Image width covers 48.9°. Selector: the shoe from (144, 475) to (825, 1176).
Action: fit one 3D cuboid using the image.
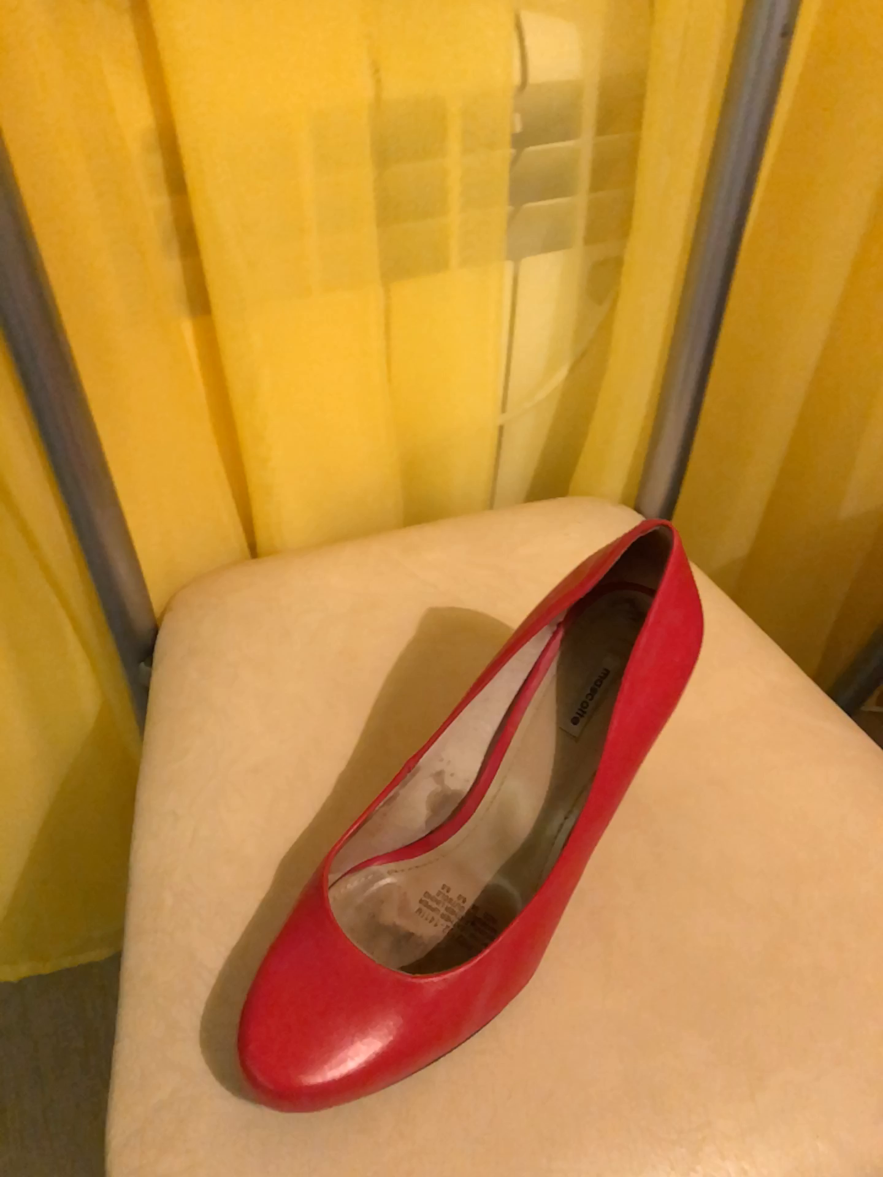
[{"bbox_3d":[0.024,0.079,0.349,0.080,0.129,0.230,37,55,25],"label":"shoe"}]
